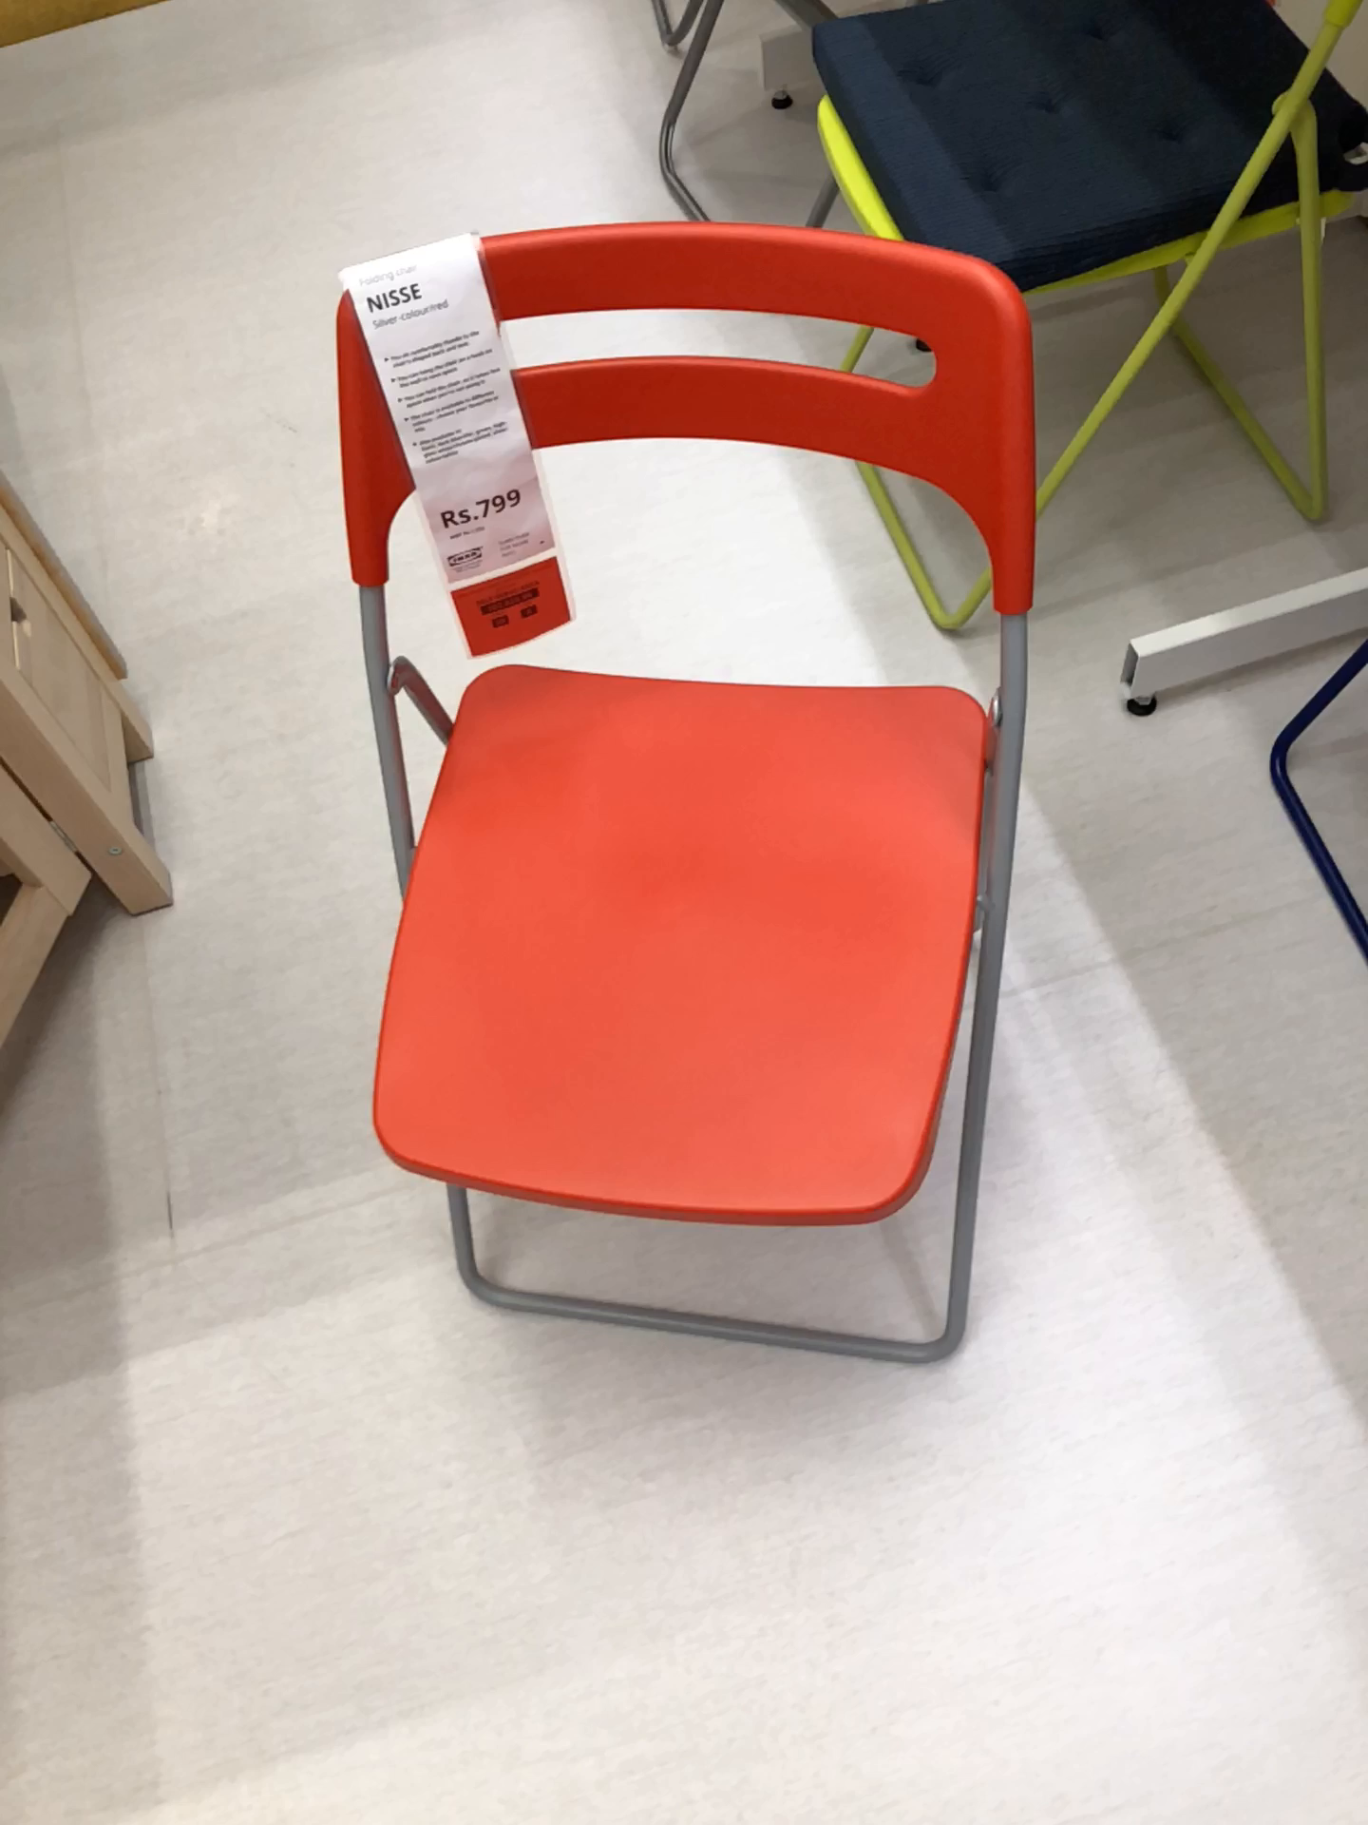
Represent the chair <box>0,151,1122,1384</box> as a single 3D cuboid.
[{"bbox_3d":[0.000,-0.031,0.946,0.440,0.677,0.422,5,60,10],"label":"chair"}]
